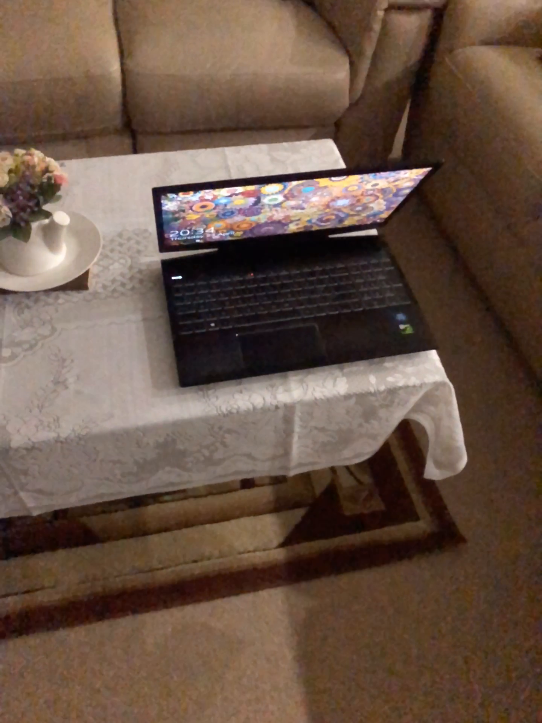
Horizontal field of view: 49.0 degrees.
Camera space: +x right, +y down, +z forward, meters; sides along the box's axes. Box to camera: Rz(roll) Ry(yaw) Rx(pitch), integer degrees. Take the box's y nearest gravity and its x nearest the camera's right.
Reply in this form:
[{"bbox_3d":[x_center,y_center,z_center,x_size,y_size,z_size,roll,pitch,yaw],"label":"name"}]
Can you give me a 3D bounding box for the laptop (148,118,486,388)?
[{"bbox_3d":[0.038,-0.149,0.786,0.355,0.199,0.244,-9,52,-10],"label":"laptop"}]
